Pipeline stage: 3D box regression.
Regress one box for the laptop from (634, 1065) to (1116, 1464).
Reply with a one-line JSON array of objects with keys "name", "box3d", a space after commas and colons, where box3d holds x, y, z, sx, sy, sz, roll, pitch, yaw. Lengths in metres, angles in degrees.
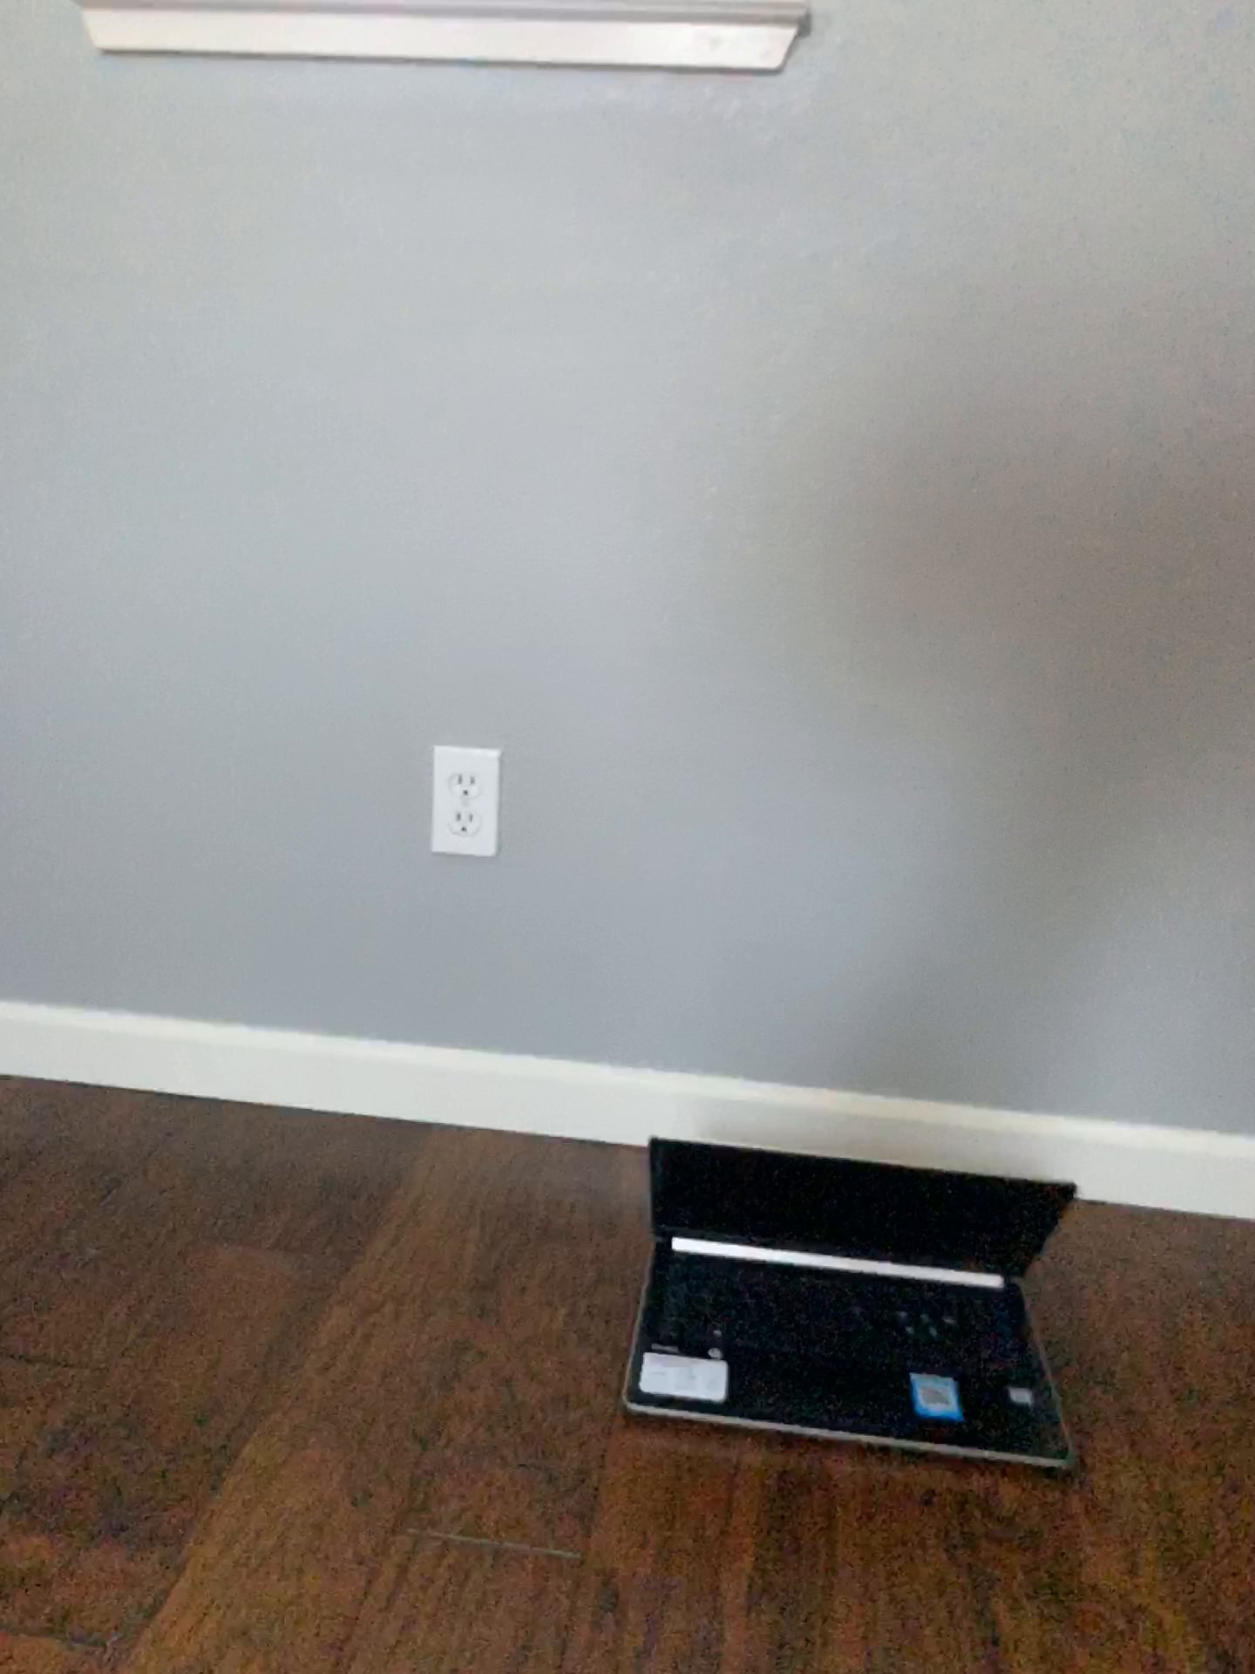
[{"name": "laptop", "box3d": [0.178, 0.319, 1.009, 0.316, 0.169, 0.220, 5, 14, 5]}]
